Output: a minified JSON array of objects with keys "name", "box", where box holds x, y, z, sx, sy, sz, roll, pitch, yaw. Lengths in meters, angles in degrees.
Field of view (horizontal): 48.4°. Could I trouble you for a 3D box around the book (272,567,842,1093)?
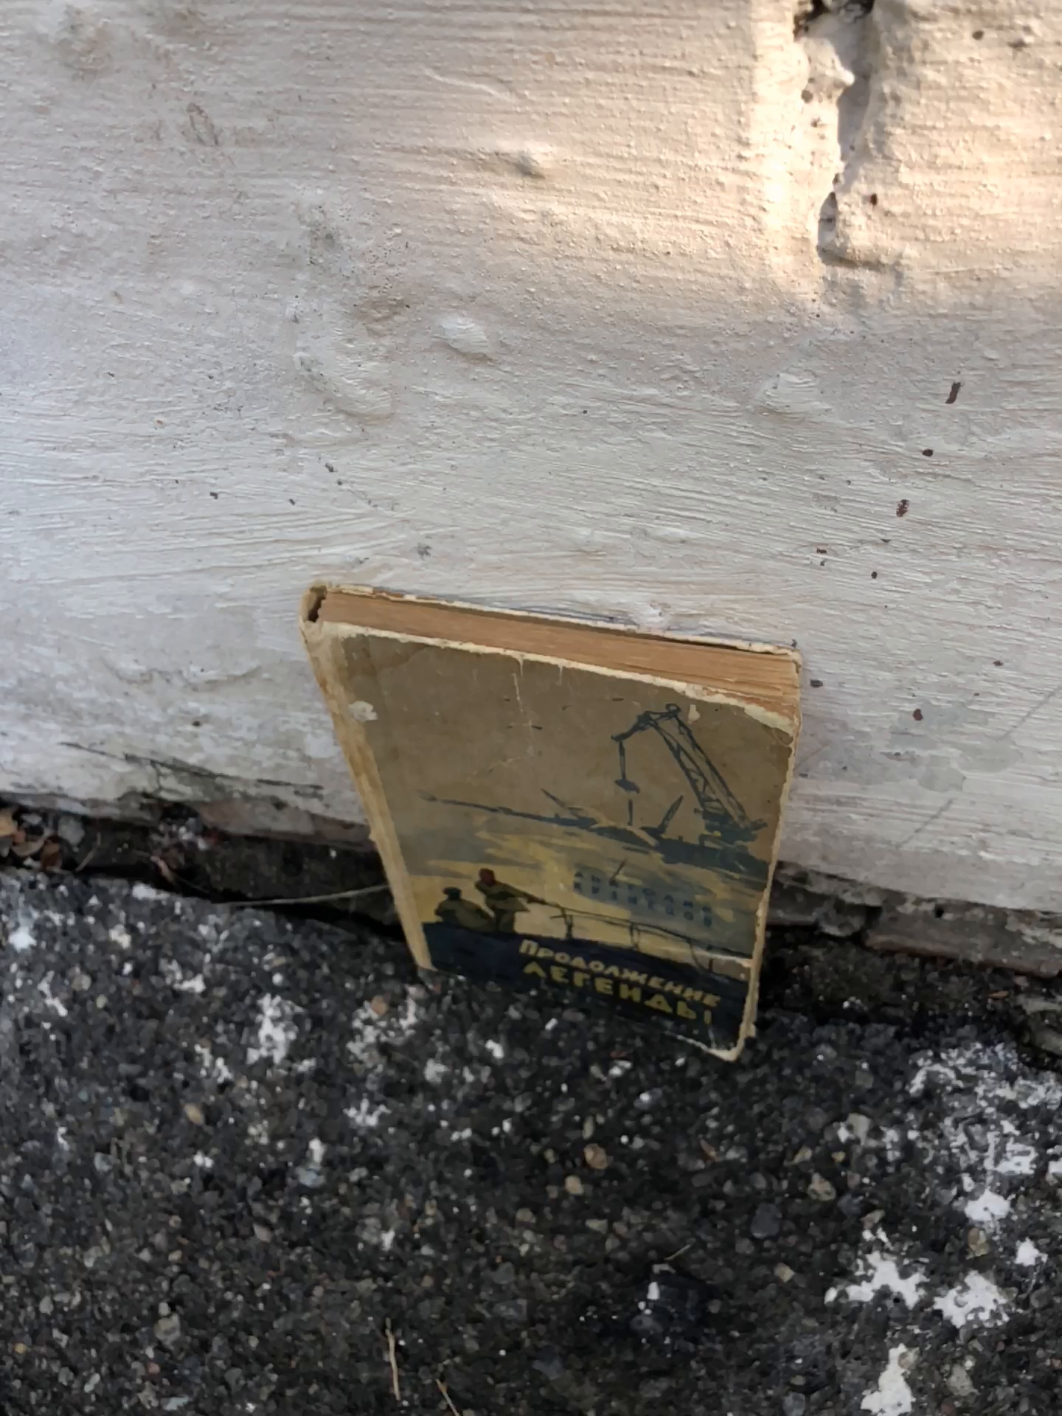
[{"name":"book","box":[0.008,0.047,0.357,0.136,0.181,0.030,11,50,11]}]
